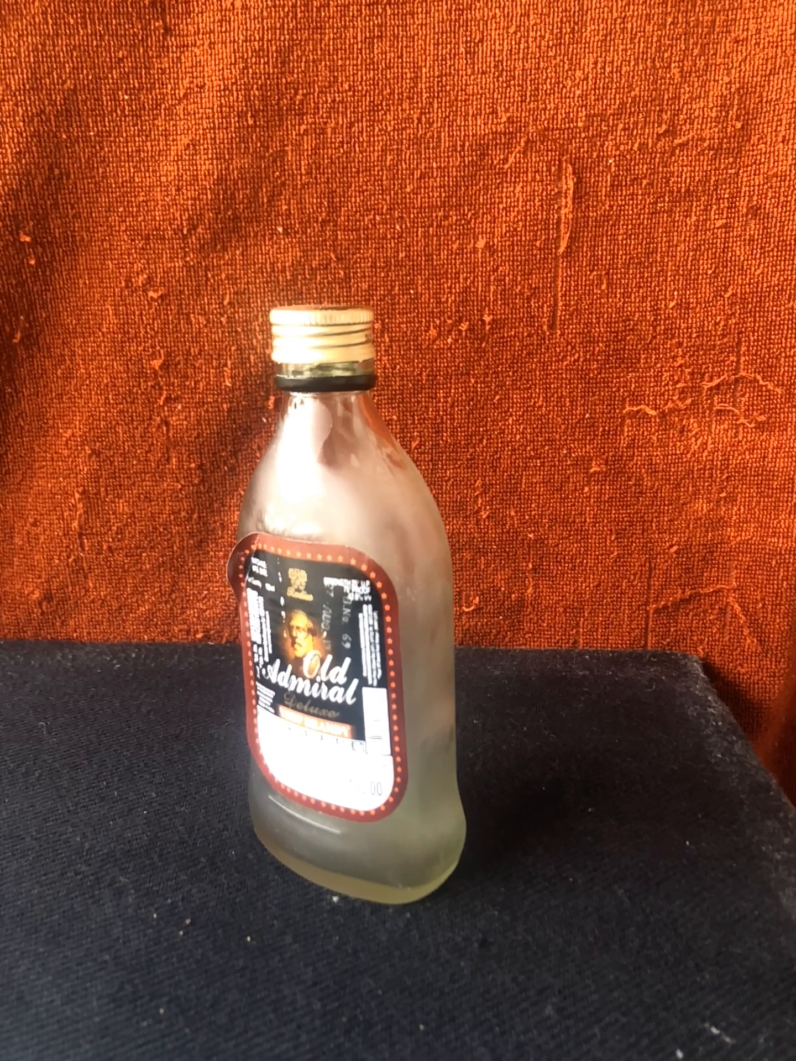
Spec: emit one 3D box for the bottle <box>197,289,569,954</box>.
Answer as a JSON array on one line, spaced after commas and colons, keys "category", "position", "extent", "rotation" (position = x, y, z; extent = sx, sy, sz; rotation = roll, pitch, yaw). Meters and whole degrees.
[{"category": "bottle", "position": [-0.004, 0.018, 0.227], "extent": [0.070, 0.149, 0.050], "rotation": [12, 21, 31]}]
